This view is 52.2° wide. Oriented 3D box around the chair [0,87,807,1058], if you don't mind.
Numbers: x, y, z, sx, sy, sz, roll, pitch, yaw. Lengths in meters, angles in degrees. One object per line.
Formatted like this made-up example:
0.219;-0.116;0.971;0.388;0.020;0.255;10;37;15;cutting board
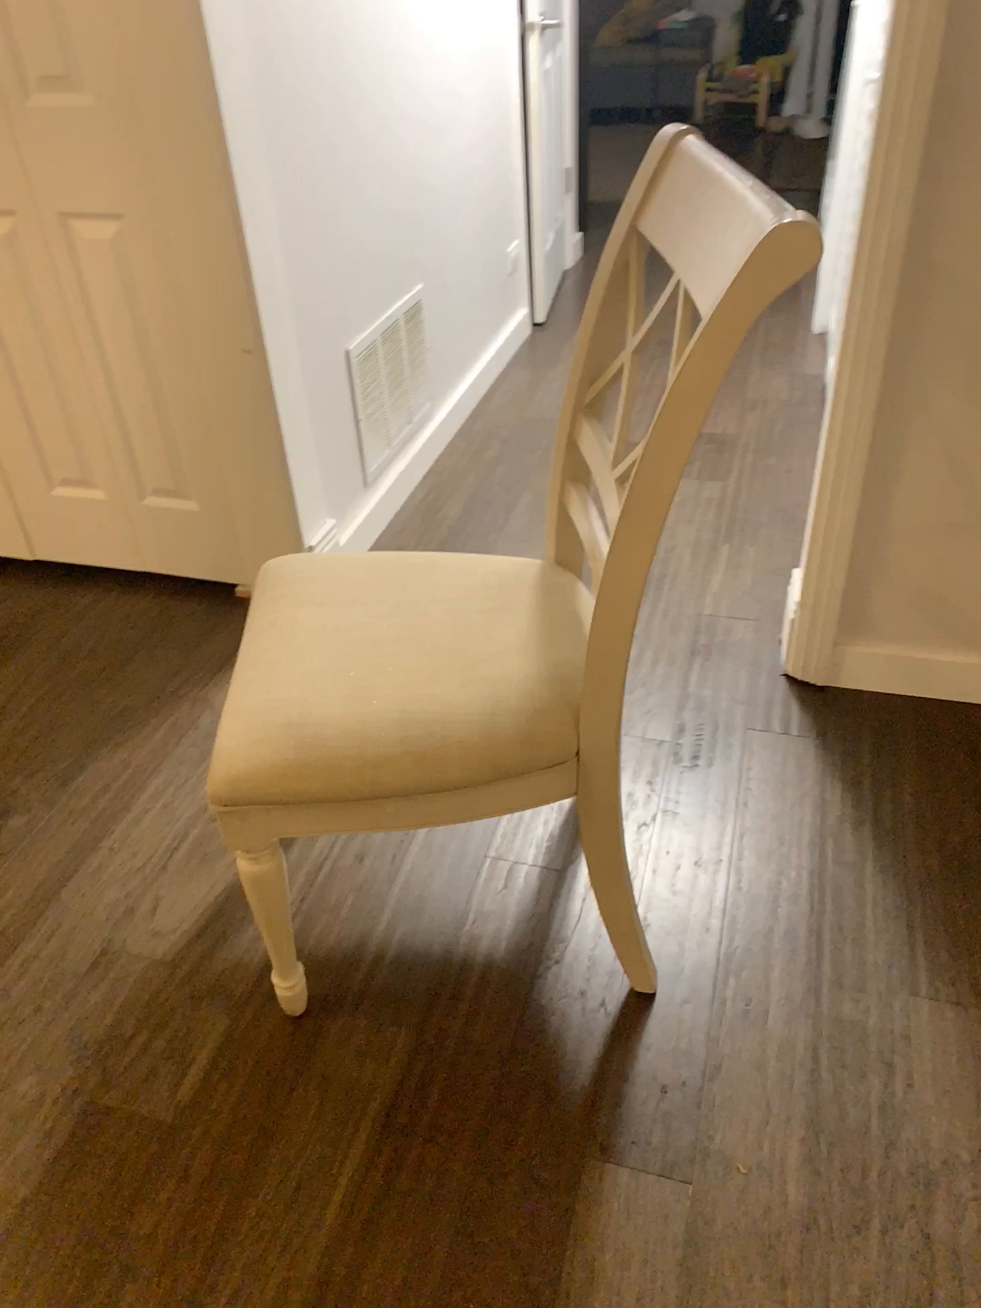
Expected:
-0.071;-0.076;1.238;0.610;0.994;0.584;-5;36;-1;chair
